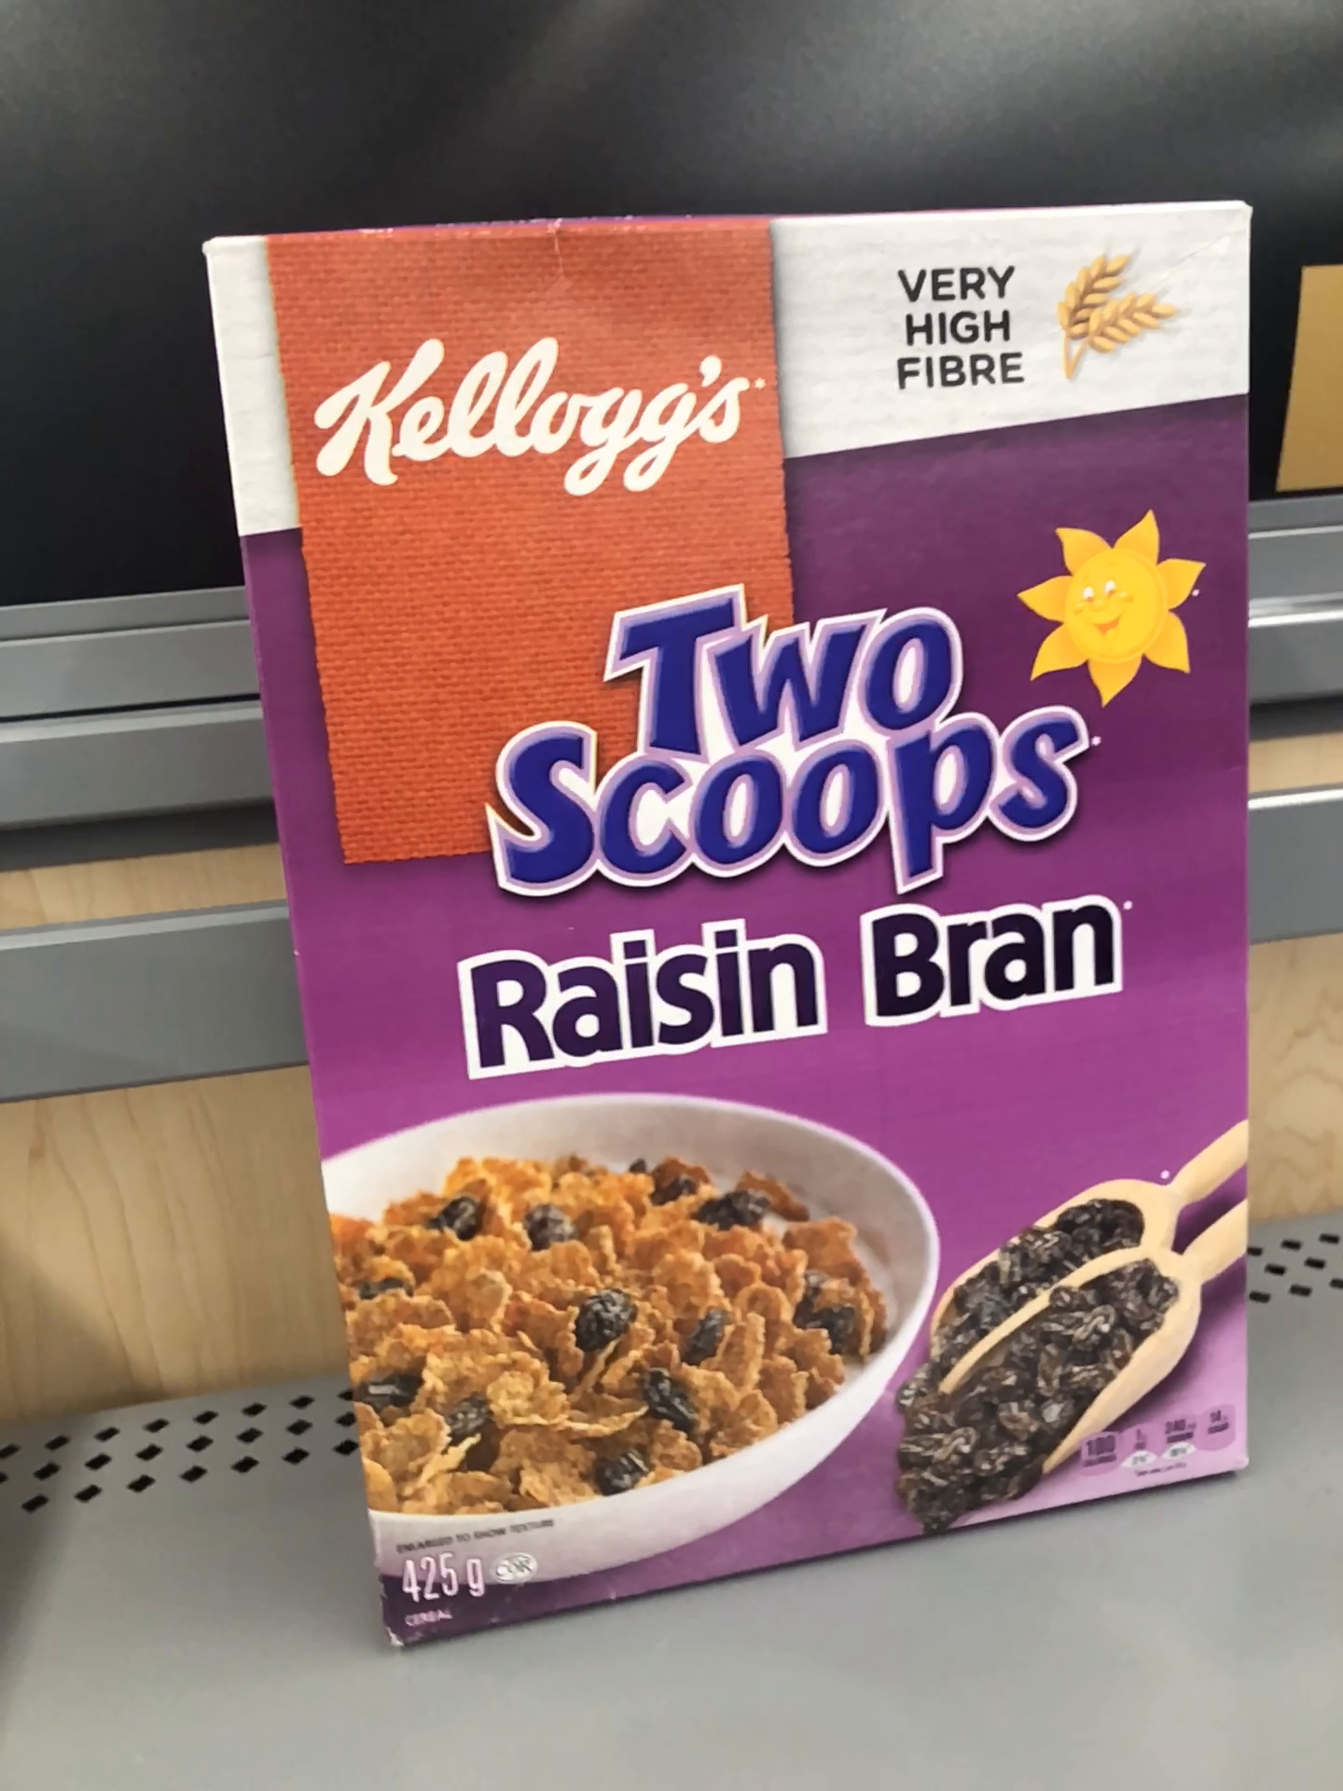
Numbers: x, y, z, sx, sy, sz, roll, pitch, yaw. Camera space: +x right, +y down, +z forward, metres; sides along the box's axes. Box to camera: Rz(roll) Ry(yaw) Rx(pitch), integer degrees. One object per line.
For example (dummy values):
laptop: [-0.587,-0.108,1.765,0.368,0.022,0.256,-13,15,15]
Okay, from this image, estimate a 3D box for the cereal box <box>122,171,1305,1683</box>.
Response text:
cereal box: [0.020,0.005,0.307,0.210,0.269,0.050,-7,11,-11]
